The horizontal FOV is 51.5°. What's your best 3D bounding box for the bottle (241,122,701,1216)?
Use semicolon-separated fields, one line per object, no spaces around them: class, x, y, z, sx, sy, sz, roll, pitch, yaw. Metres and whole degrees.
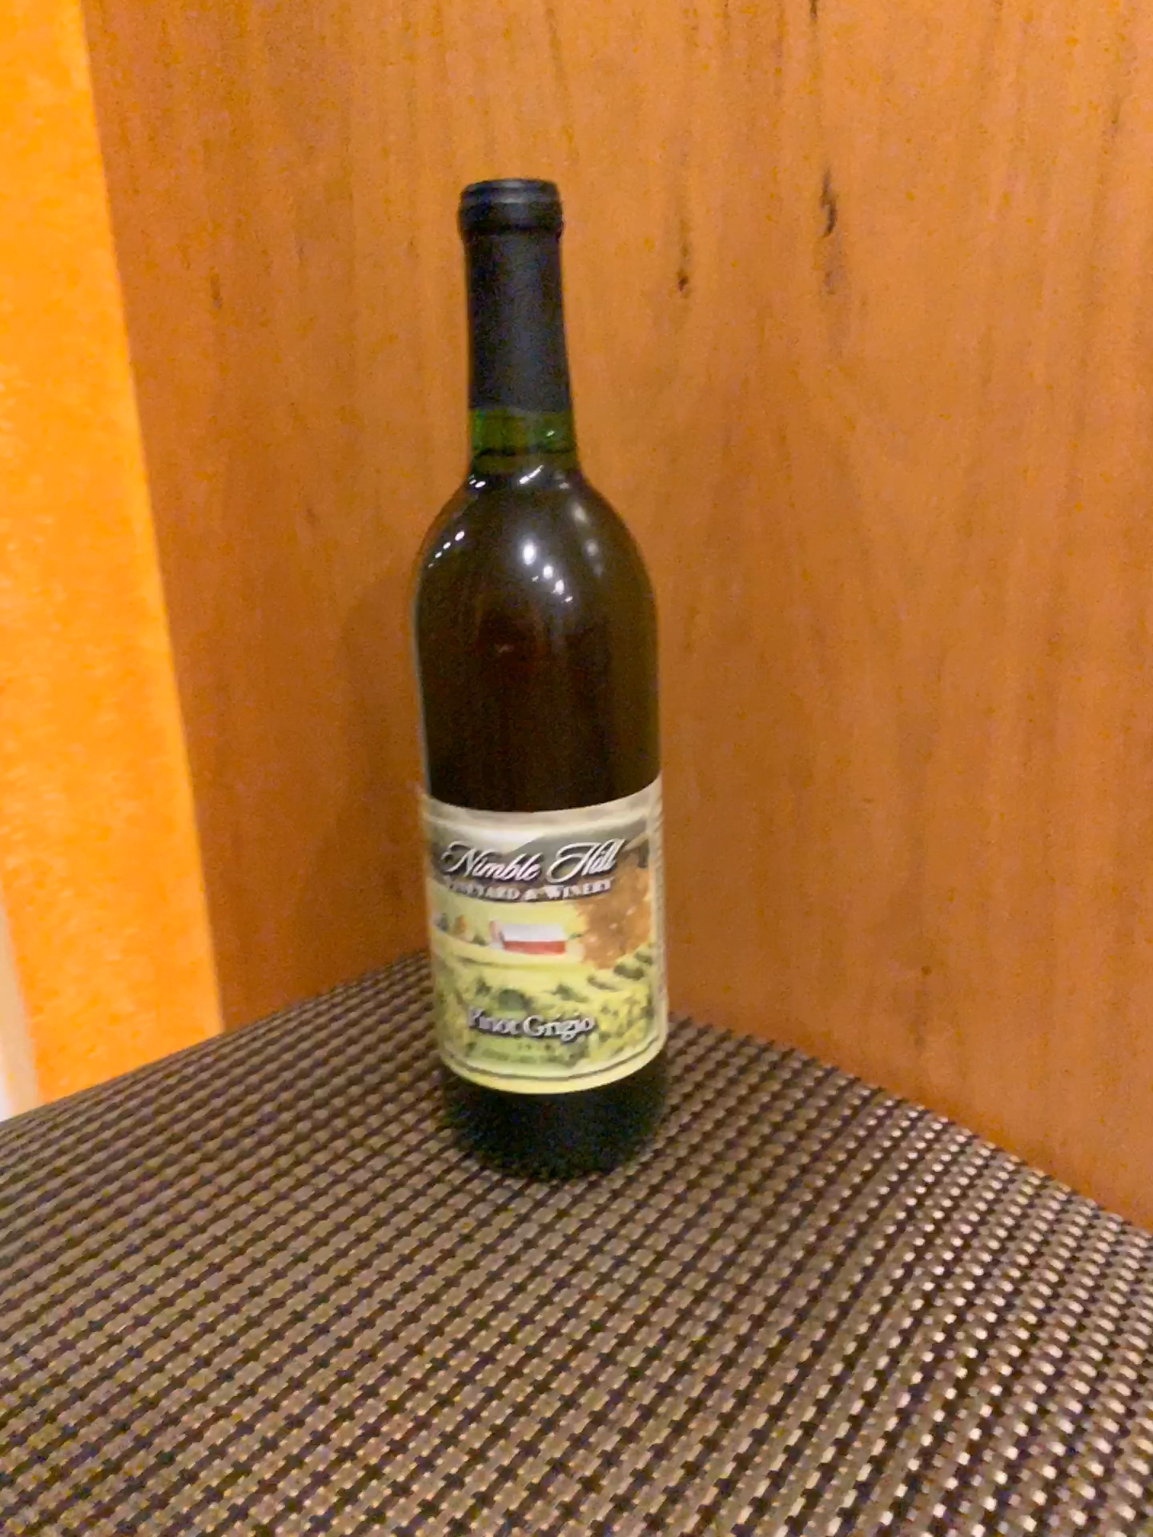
bottle;-0.018;-0.021;0.339;0.090;0.269;0.080;4;18;19
